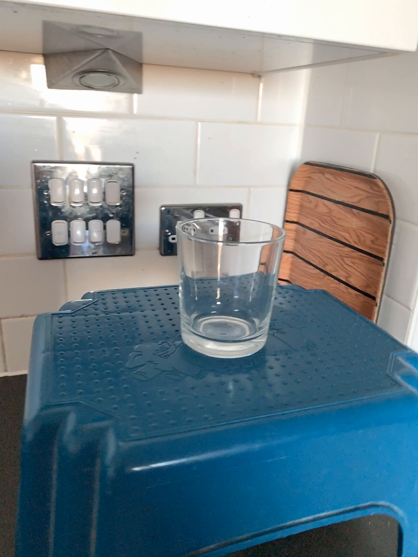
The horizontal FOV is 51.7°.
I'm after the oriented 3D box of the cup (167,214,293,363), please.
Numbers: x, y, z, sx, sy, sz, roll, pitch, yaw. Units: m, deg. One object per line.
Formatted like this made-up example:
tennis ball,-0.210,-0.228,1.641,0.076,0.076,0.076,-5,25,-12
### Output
cup,0.013,0.004,0.314,0.076,0.085,0.067,3,20,0
